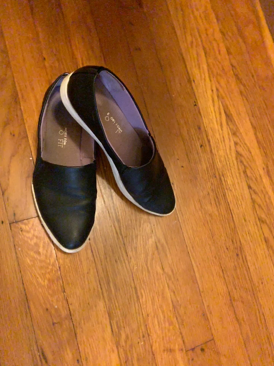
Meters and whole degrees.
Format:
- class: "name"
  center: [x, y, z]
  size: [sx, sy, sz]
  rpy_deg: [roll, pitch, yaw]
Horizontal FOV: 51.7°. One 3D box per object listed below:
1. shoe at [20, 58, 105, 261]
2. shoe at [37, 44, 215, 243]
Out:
- class: "shoe"
  center: [-0.109, -0.031, 0.406]
  size: [0.100, 0.080, 0.260]
  rpy_deg: [-1, 81, -16]
- class: "shoe"
  center: [-0.005, -0.041, 0.398]
  size: [0.100, 0.080, 0.250]
  rpy_deg: [-48, 117, -17]
